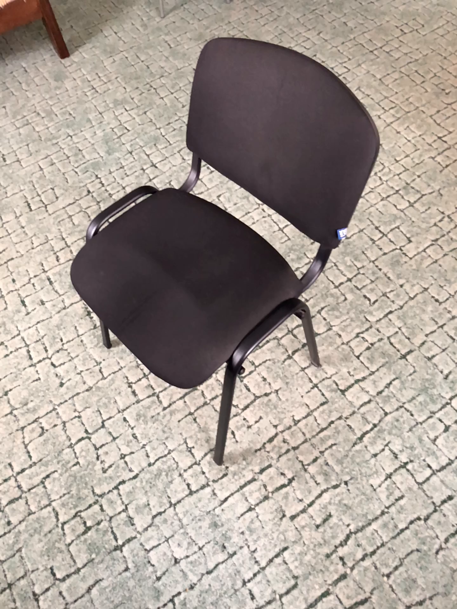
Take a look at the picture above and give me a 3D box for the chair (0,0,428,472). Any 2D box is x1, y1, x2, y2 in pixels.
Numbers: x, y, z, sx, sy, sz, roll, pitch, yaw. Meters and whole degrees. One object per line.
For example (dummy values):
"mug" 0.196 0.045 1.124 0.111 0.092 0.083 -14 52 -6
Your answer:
"chair" -0.051 -0.124 1.205 0.602 0.785 0.582 -40 63 -19
